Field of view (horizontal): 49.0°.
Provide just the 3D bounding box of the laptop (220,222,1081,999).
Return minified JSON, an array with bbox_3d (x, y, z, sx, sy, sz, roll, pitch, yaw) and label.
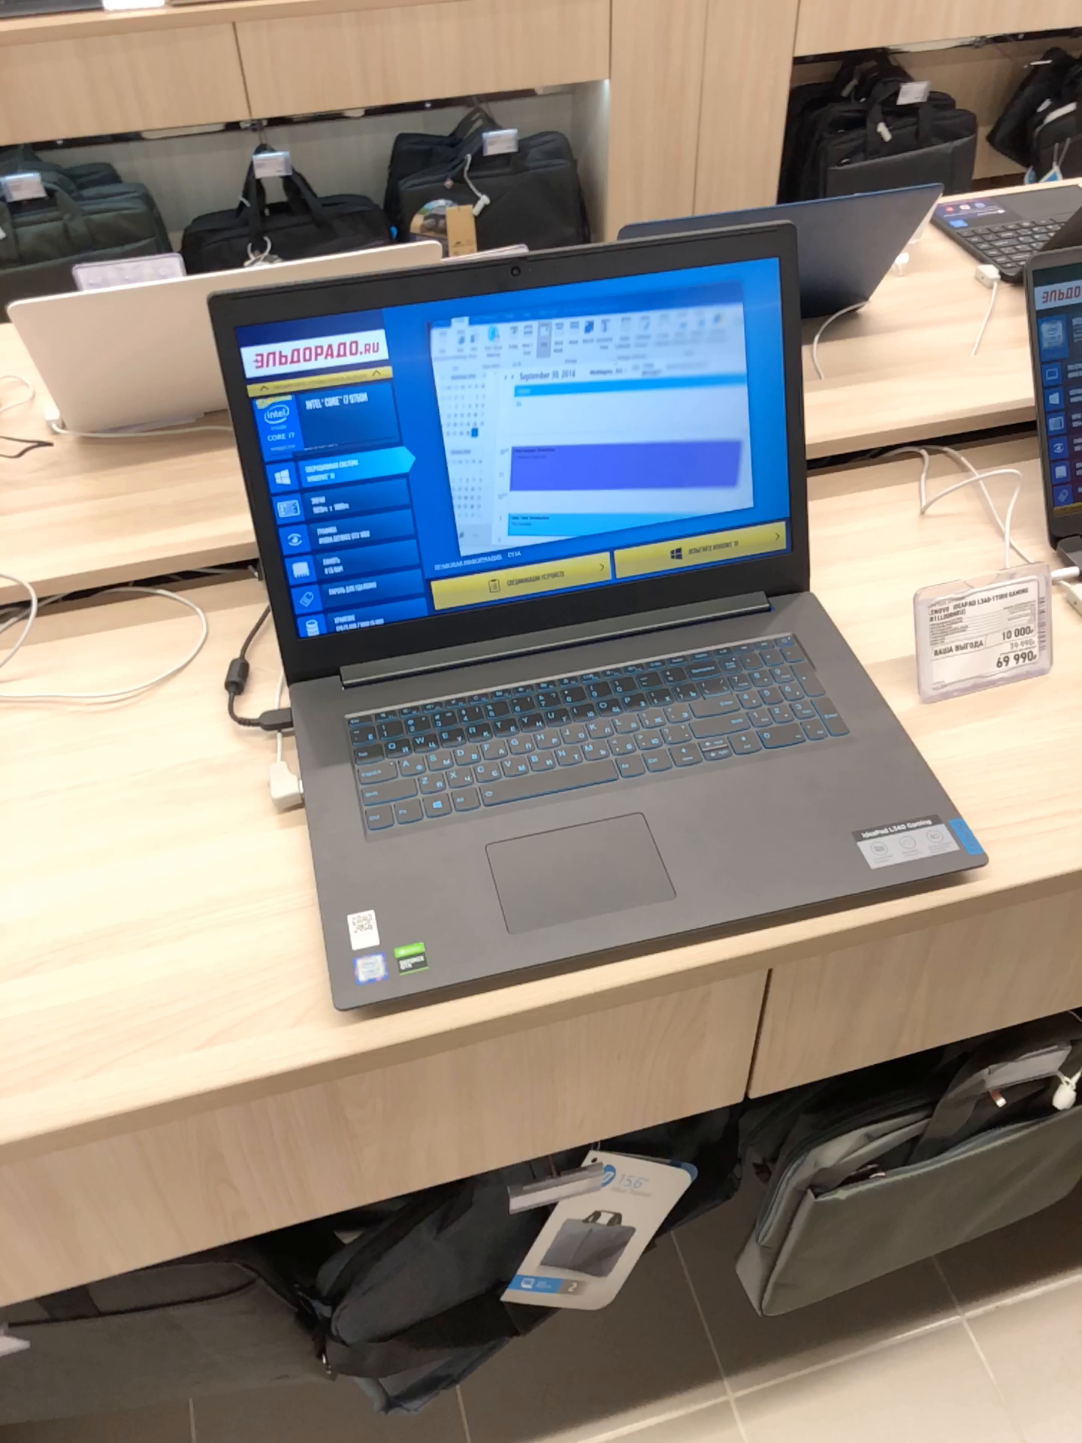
[{"bbox_3d":[0.034,-0.097,0.748,0.395,0.242,0.382,-11,45,-10],"label":"laptop"}]
